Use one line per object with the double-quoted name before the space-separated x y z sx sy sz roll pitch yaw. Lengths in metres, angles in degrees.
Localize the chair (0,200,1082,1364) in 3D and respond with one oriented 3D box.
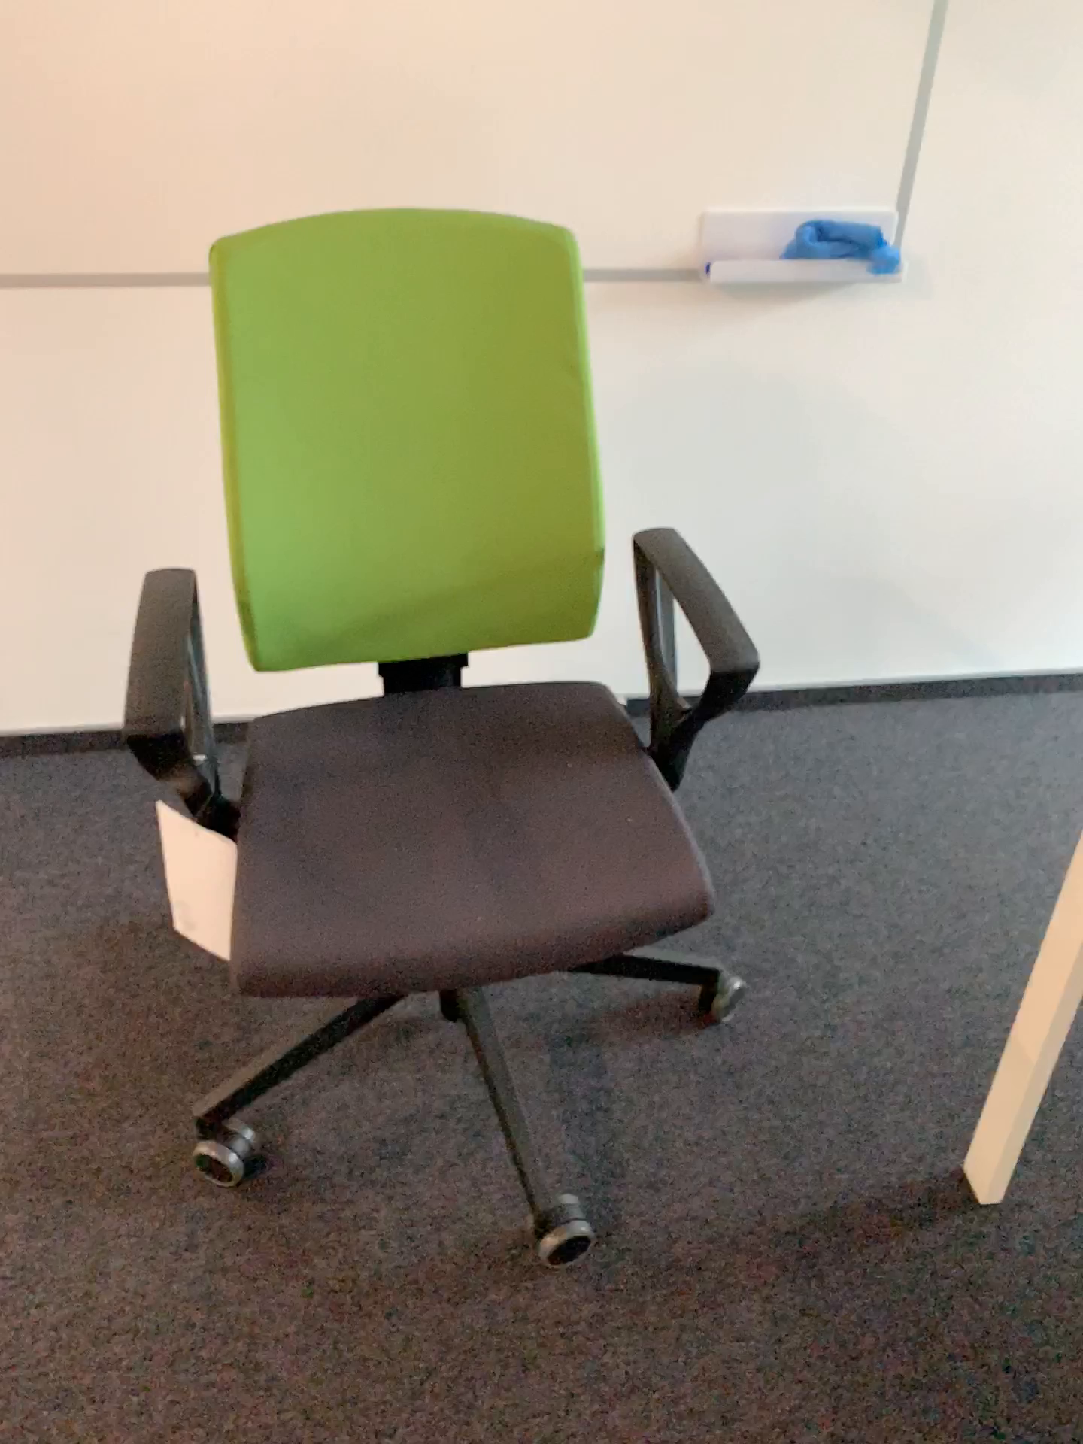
"chair" -0.083 0.016 1.251 0.760 0.964 0.734 -7 36 -12
